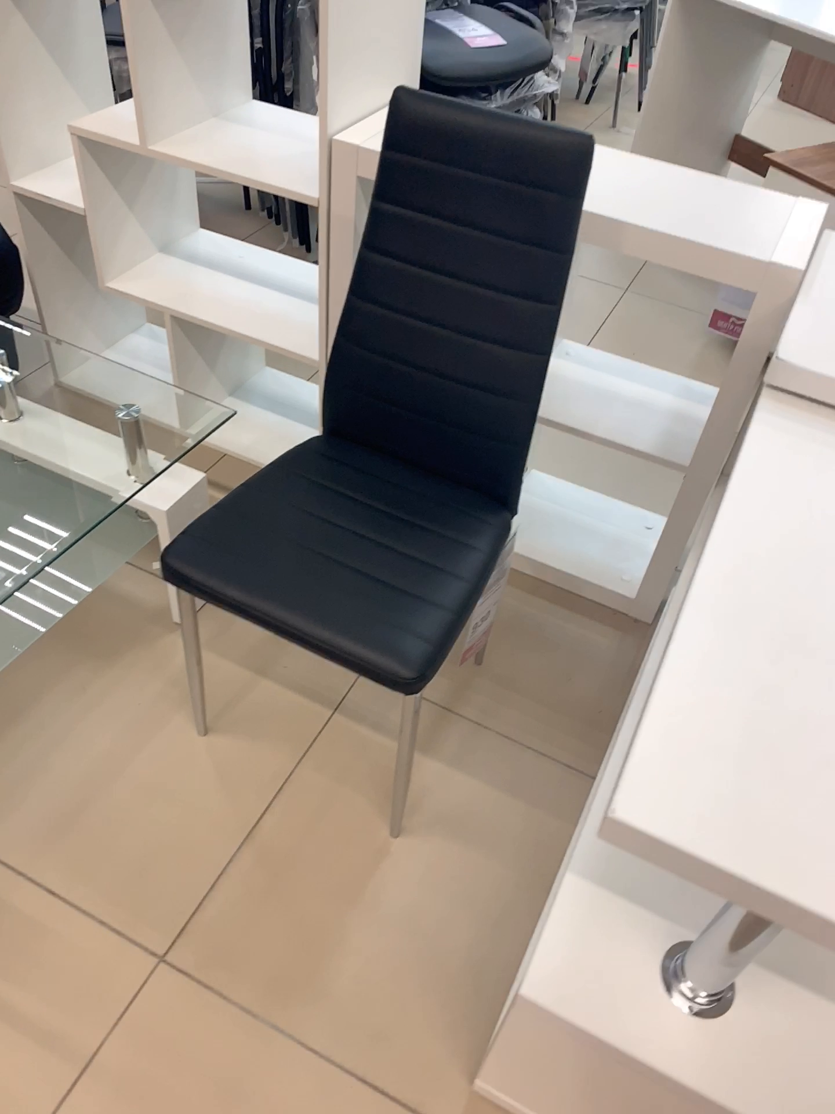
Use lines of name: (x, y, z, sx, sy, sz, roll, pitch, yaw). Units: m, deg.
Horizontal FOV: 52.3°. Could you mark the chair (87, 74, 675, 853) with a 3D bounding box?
chair: (-0.031, -0.120, 1.298, 0.440, 0.916, 0.602, 23, 46, 17)
